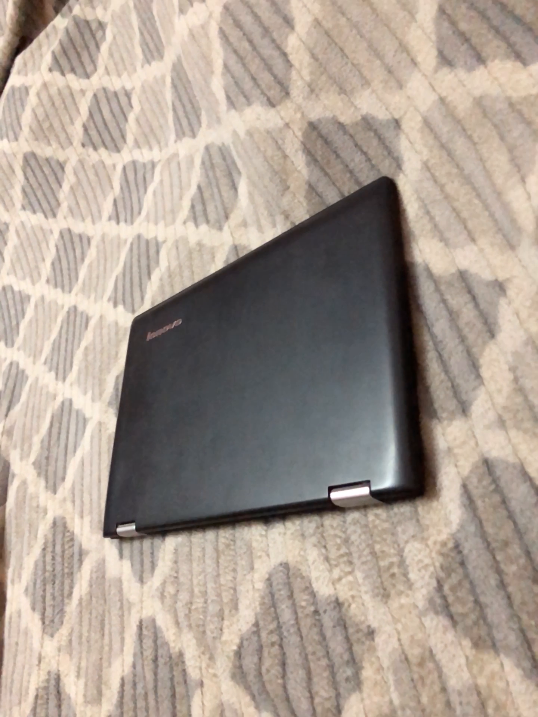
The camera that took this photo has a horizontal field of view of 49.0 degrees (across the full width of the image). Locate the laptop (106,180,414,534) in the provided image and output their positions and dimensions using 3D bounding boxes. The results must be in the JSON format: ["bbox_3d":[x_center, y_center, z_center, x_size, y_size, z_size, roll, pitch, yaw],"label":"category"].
[{"bbox_3d":[-0.034,0.018,0.514,0.341,0.005,0.231,-21,58,40],"label":"laptop"}]
